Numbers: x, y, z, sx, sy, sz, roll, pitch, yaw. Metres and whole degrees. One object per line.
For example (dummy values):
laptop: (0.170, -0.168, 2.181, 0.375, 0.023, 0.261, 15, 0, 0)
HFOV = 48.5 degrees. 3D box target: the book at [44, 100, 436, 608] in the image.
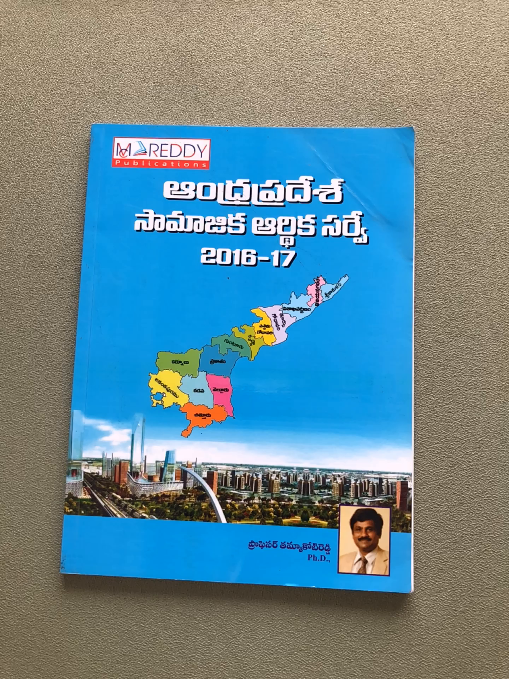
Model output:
book: (-0.004, 0.001, 0.284, 0.180, 0.020, 0.240, 2, 84, 3)
